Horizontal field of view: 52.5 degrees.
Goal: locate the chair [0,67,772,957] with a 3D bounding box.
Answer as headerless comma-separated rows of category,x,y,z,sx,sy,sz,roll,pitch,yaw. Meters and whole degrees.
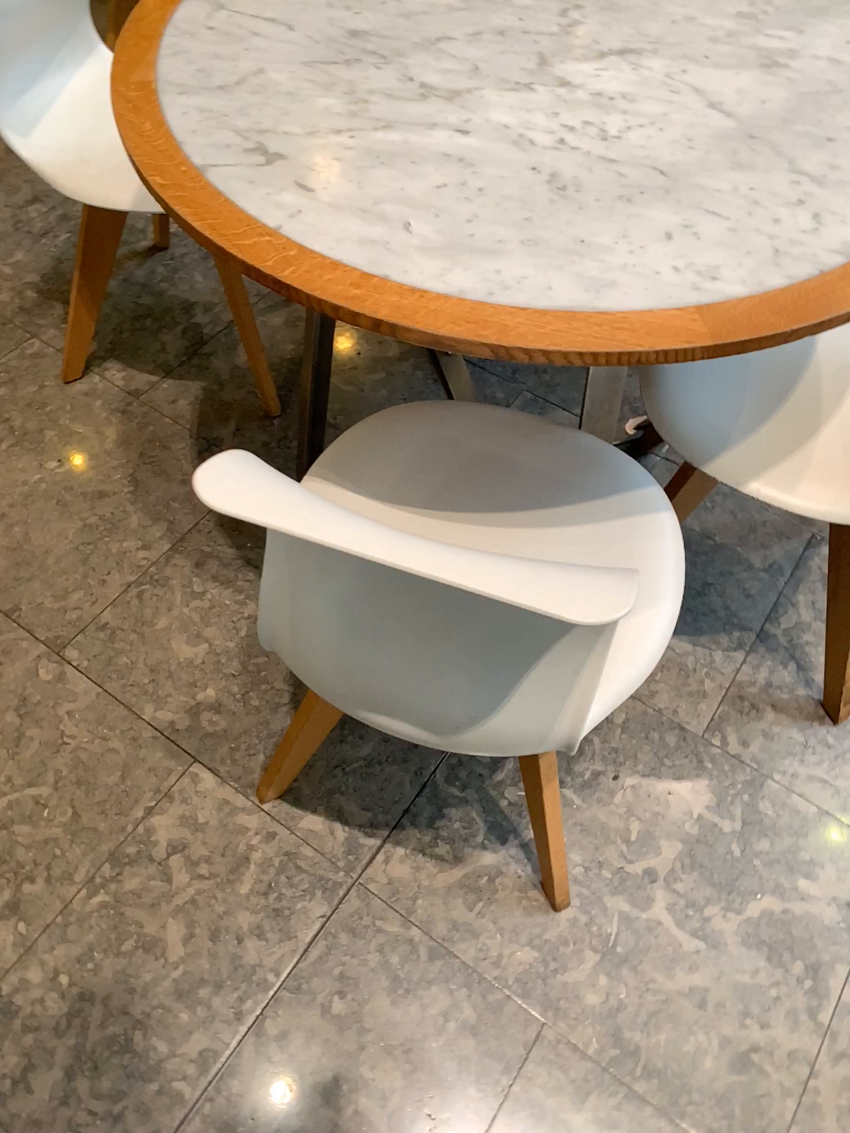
chair,-0.020,0.034,1.061,0.500,0.914,0.543,17,58,10
